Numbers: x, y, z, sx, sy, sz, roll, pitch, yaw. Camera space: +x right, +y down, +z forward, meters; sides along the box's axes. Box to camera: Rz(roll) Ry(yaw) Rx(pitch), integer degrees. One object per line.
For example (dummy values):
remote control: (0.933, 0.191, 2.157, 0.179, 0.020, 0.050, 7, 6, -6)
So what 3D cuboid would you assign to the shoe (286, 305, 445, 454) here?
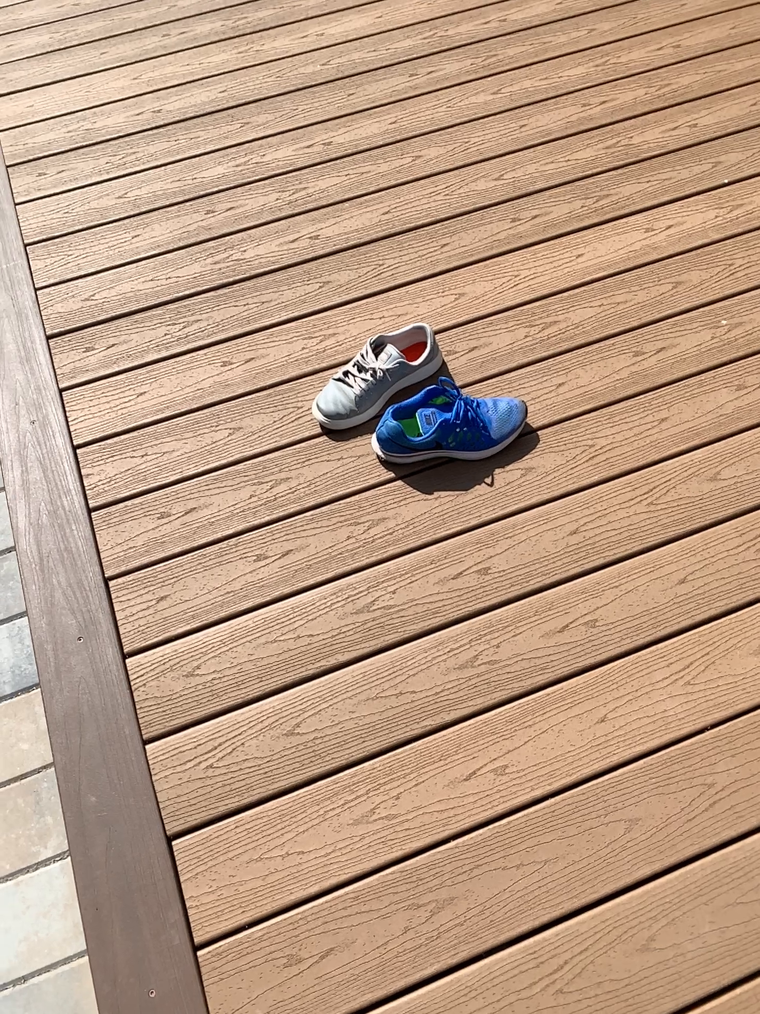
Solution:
shoe: (-0.022, -0.241, 1.452, 0.280, 0.110, 0.110, -35, 64, -16)

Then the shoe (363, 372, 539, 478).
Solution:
shoe: (0.120, -0.144, 1.349, 0.280, 0.090, 0.110, -9, 60, -3)
